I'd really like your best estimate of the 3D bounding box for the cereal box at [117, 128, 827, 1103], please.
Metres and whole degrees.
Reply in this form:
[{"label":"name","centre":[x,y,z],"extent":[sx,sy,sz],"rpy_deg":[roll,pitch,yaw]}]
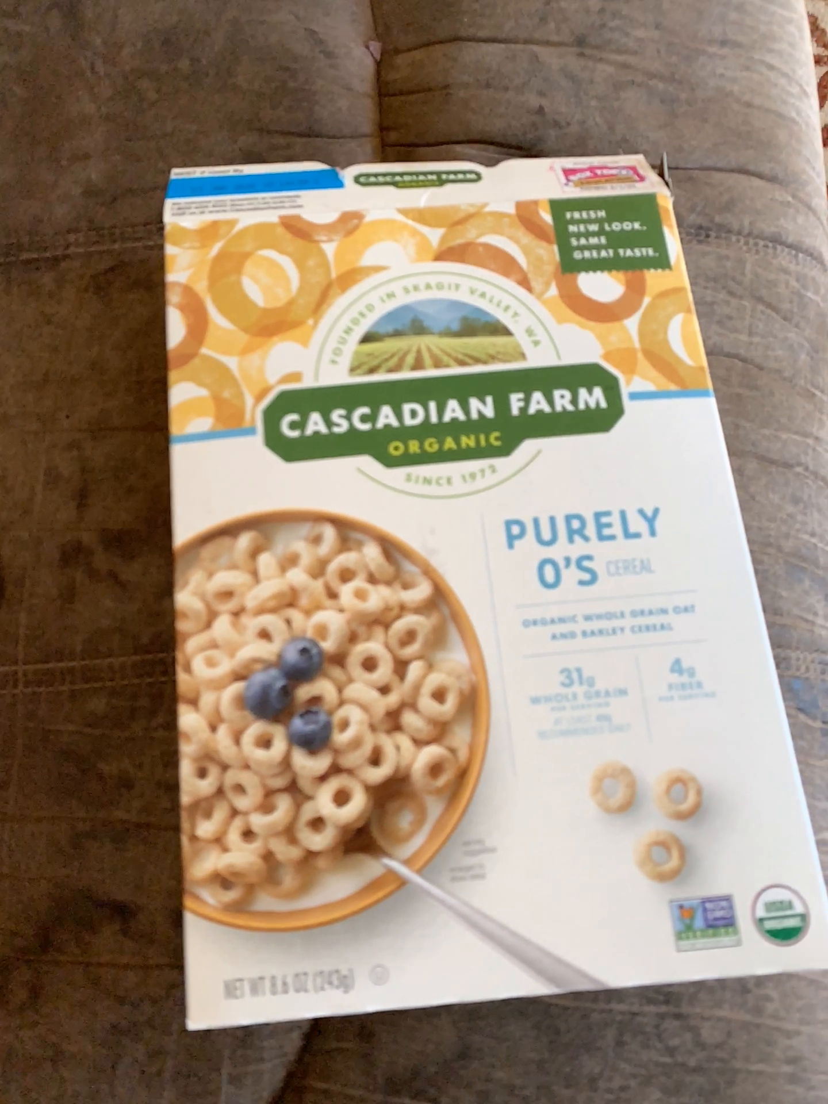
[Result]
[{"label":"cereal box","centre":[0.018,0.001,0.280],"extent":[0.200,0.070,0.280],"rpy_deg":[-5,70,-2]}]
